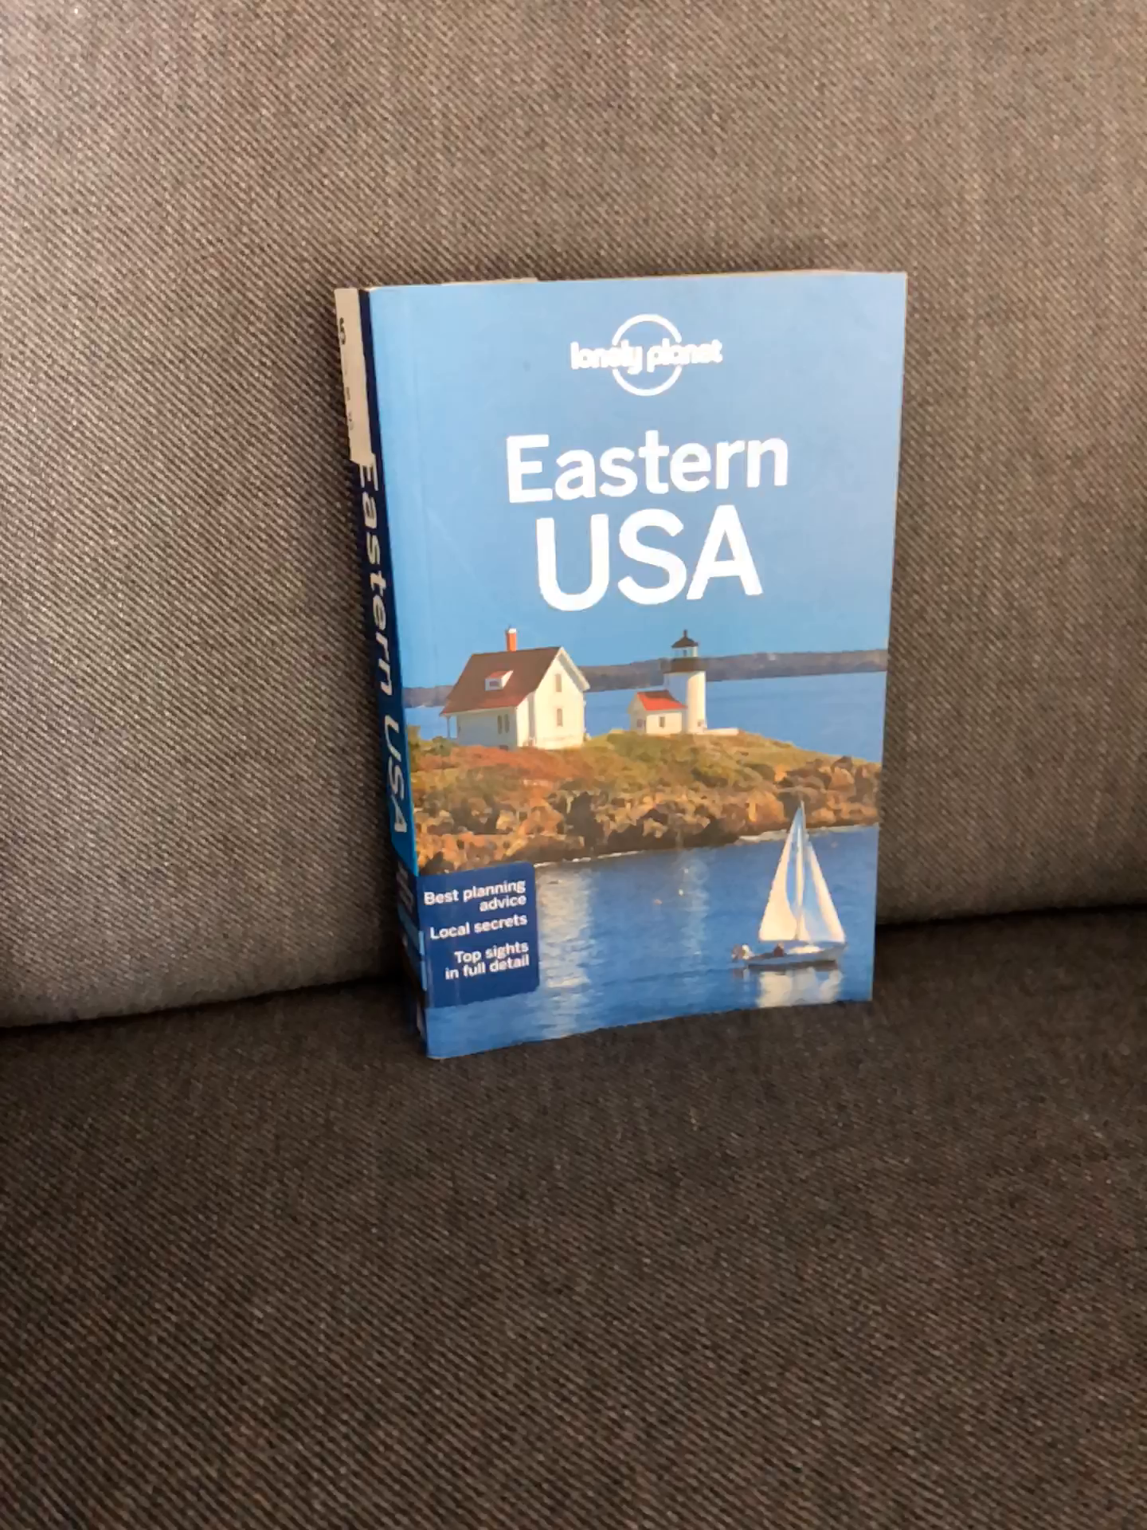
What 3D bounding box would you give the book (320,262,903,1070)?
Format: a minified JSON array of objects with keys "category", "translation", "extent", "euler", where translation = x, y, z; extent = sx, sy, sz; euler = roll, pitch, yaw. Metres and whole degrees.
[{"category":"book","translation":[0.011,-0.024,0.341],"extent":[0.134,0.200,0.039],"euler":[-5,20,-8]}]
